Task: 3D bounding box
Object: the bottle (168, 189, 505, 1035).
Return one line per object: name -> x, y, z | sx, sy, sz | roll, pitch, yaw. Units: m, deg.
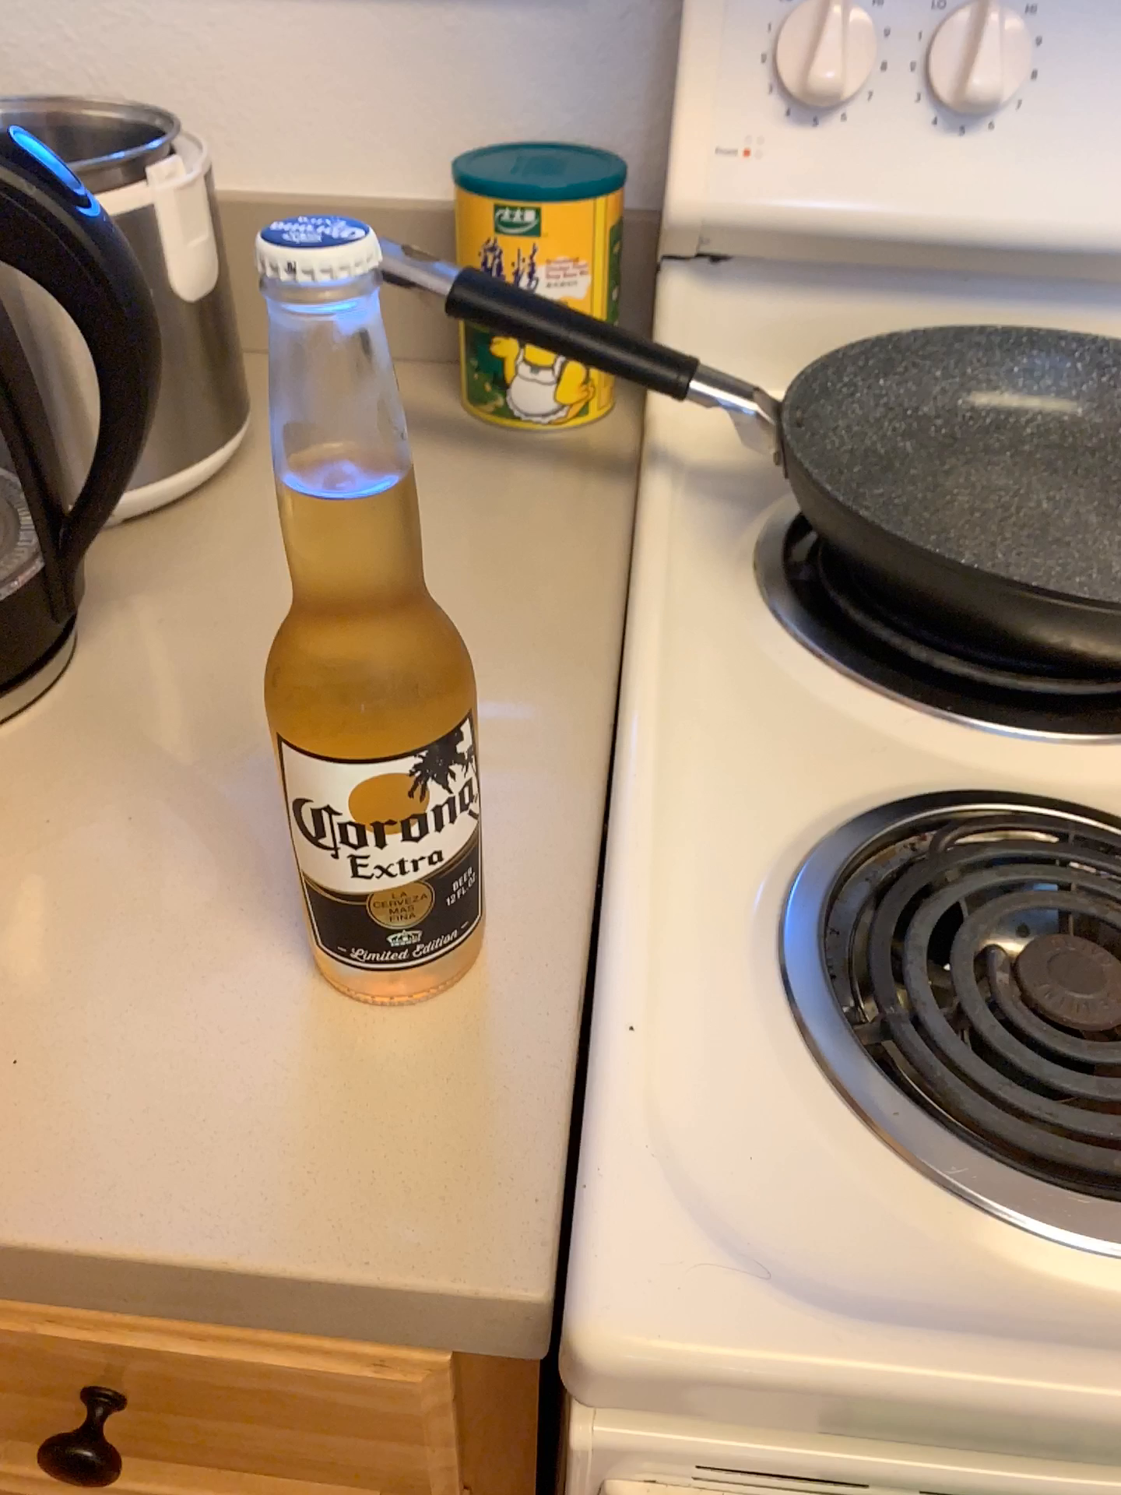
bottle -> -0.054, -0.022, 0.320 | 0.059, 0.226, 0.064 | 1, 40, -1
